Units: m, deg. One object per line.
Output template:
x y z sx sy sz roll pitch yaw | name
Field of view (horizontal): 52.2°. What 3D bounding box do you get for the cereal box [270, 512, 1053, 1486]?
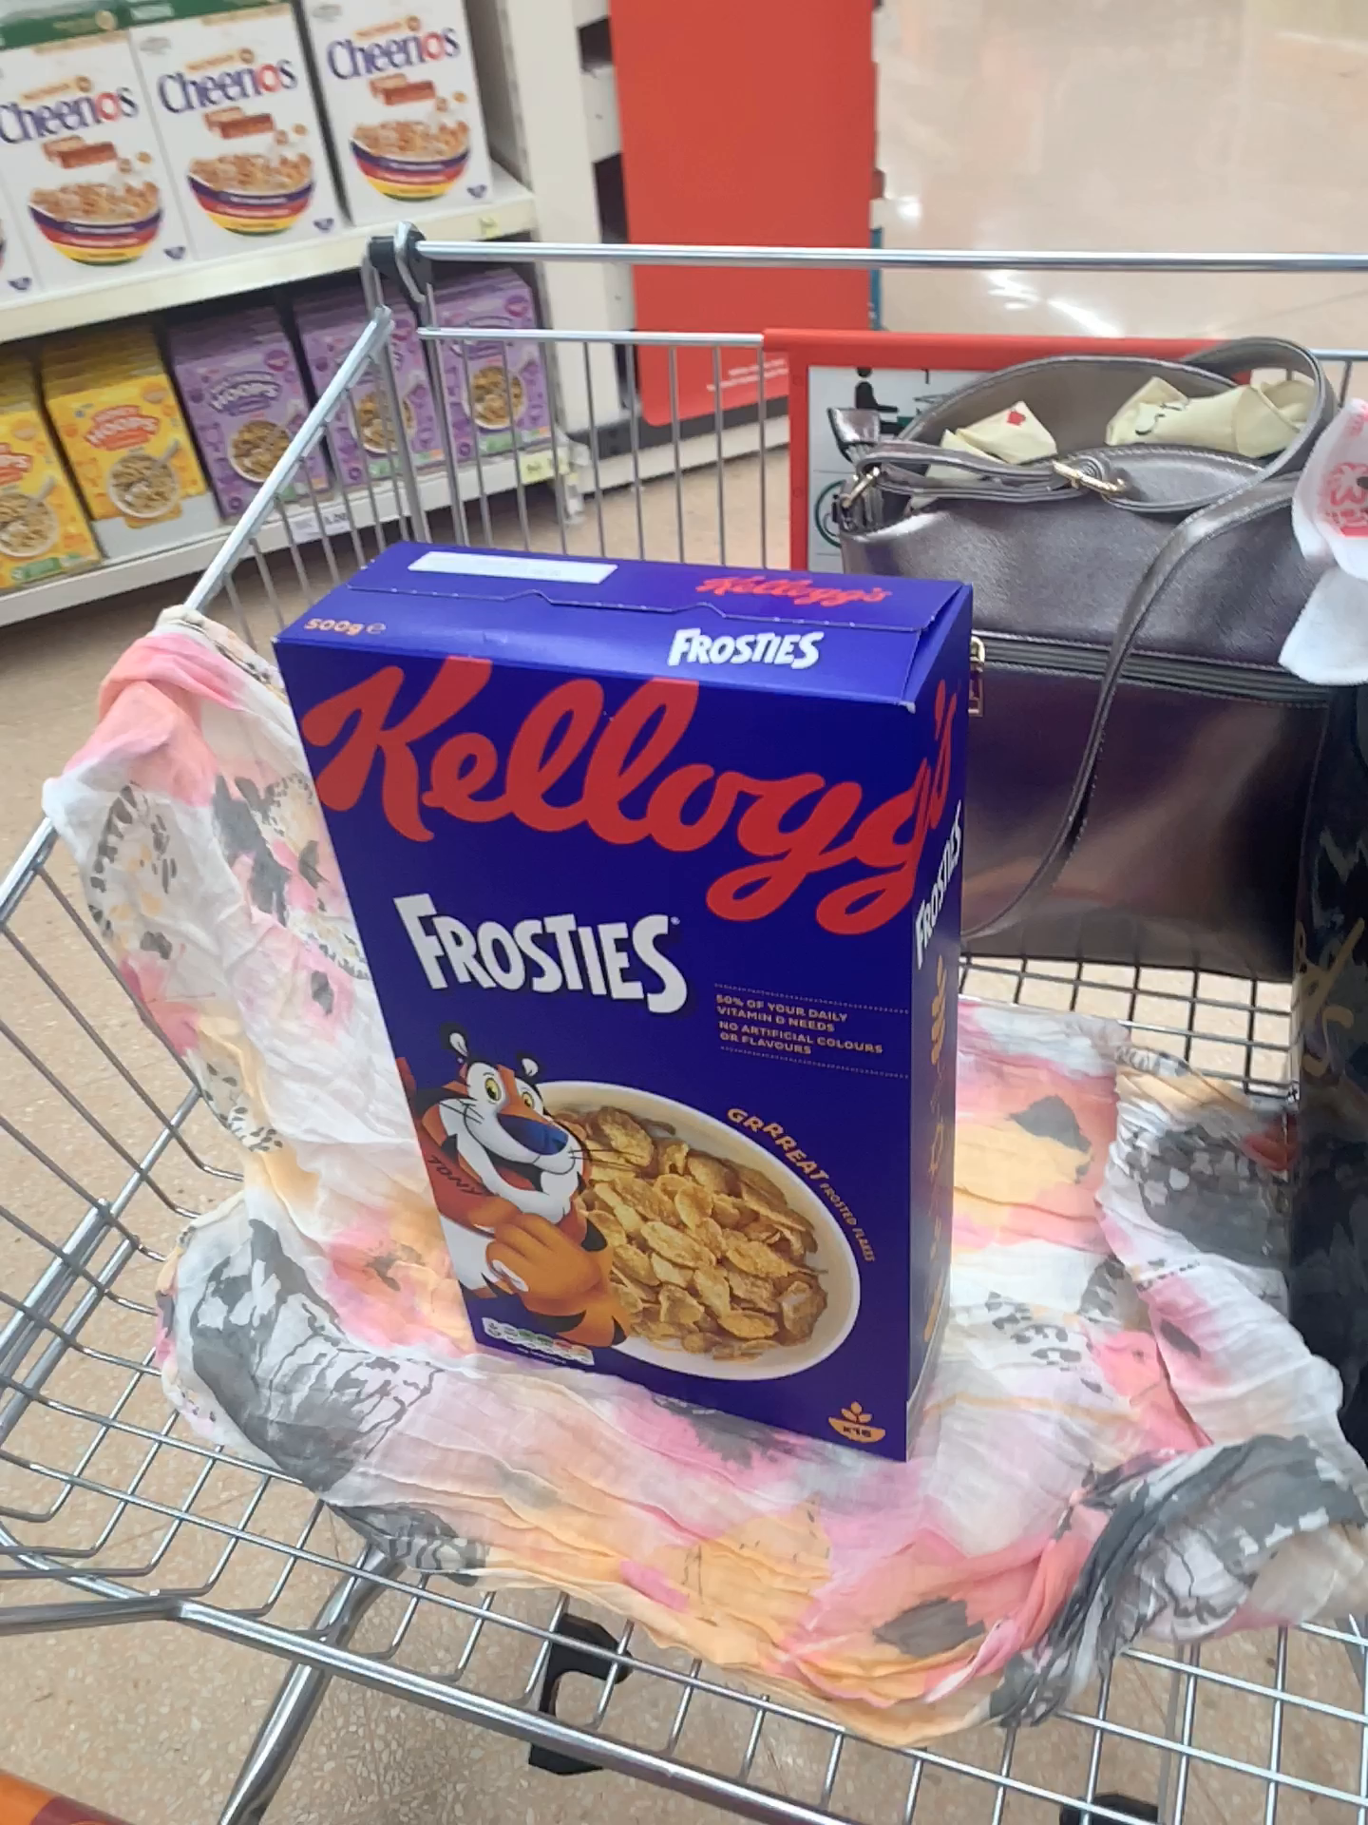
0.002 0.044 0.499 0.210 0.337 0.081 10 38 17 | cereal box
